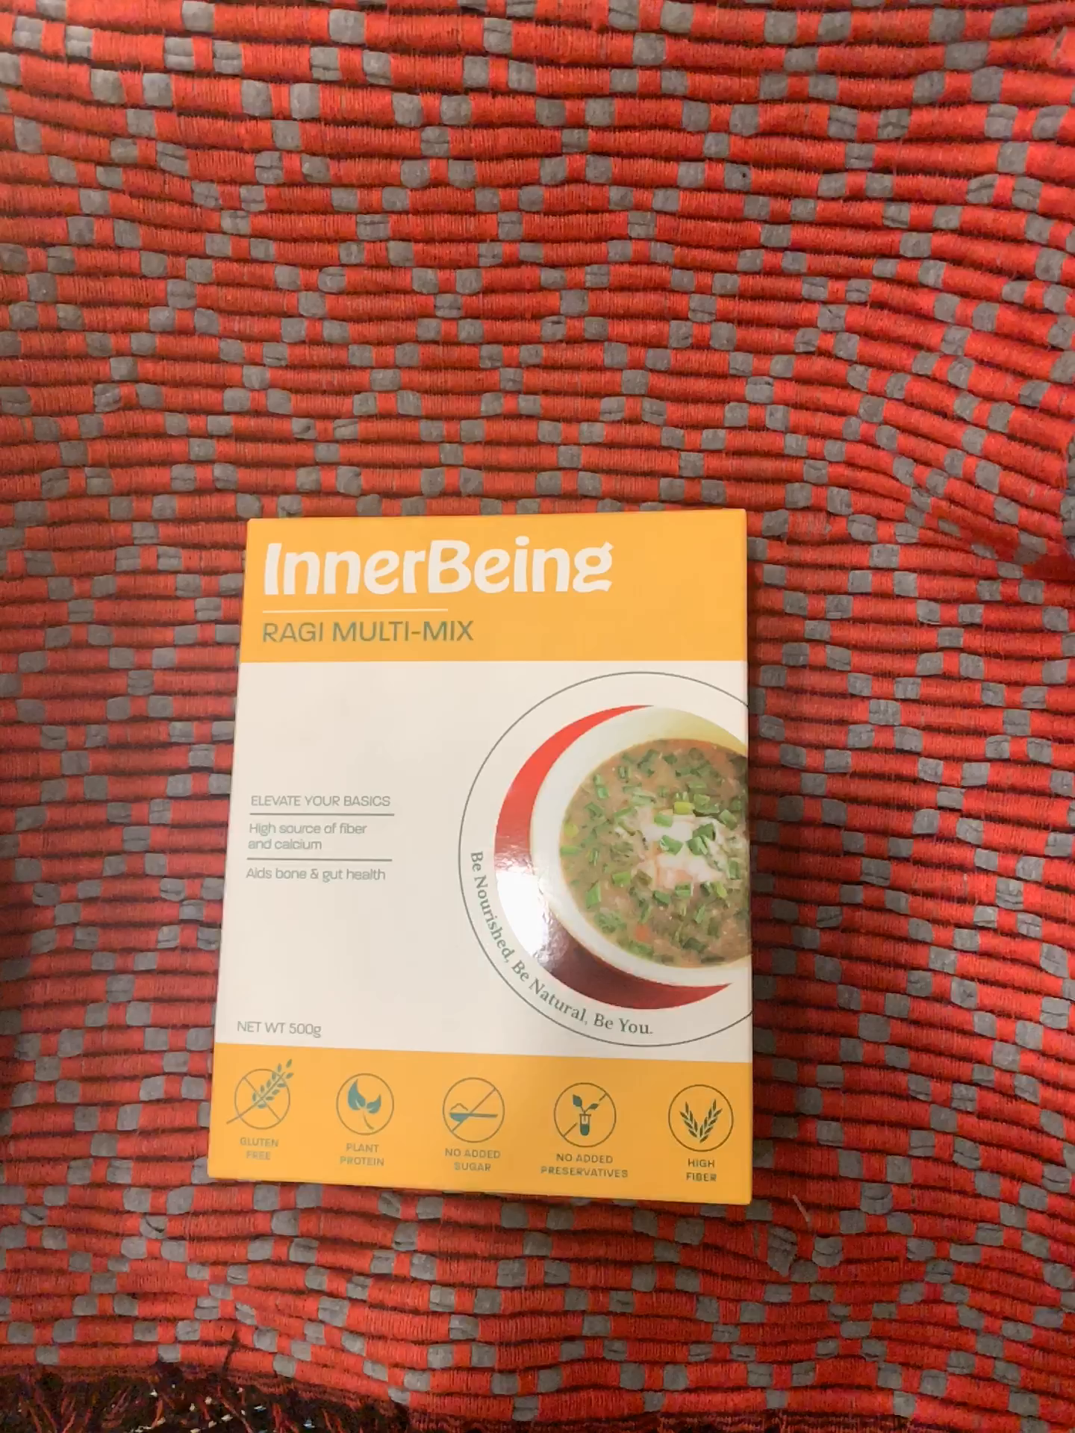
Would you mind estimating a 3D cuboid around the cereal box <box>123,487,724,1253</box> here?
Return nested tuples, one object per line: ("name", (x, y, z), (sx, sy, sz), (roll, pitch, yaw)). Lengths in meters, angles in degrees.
("cereal box", (-0.024, 0.039, 0.321), (0.150, 0.070, 0.190), (0, 80, 7))
